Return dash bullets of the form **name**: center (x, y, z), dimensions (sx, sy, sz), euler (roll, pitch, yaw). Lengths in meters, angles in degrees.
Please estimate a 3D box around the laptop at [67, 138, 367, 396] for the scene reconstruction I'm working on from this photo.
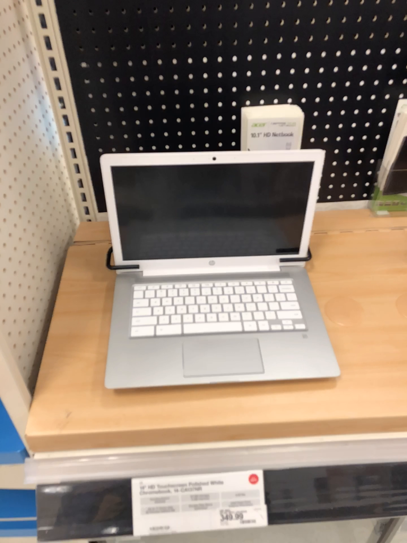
- **laptop**: center (0.011, -0.021, 0.648), dimensions (0.333, 0.198, 0.281), euler (-3, 44, -4)
